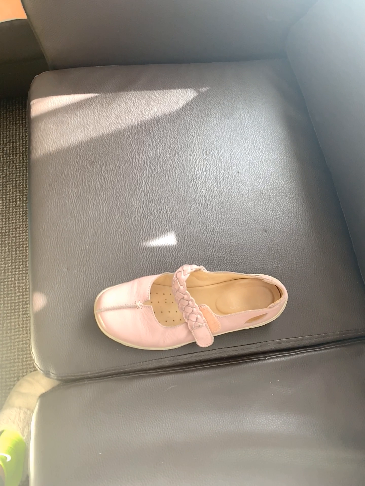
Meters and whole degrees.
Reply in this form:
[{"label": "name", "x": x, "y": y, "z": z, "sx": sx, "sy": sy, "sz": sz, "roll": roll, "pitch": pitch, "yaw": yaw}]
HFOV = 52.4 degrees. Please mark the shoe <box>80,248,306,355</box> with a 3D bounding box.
[{"label": "shoe", "x": 0.009, "y": 0.081, "z": 0.490, "sx": 0.260, "sy": 0.100, "sz": 0.105, "roll": -5, "pitch": 71, "yaw": -1}]
